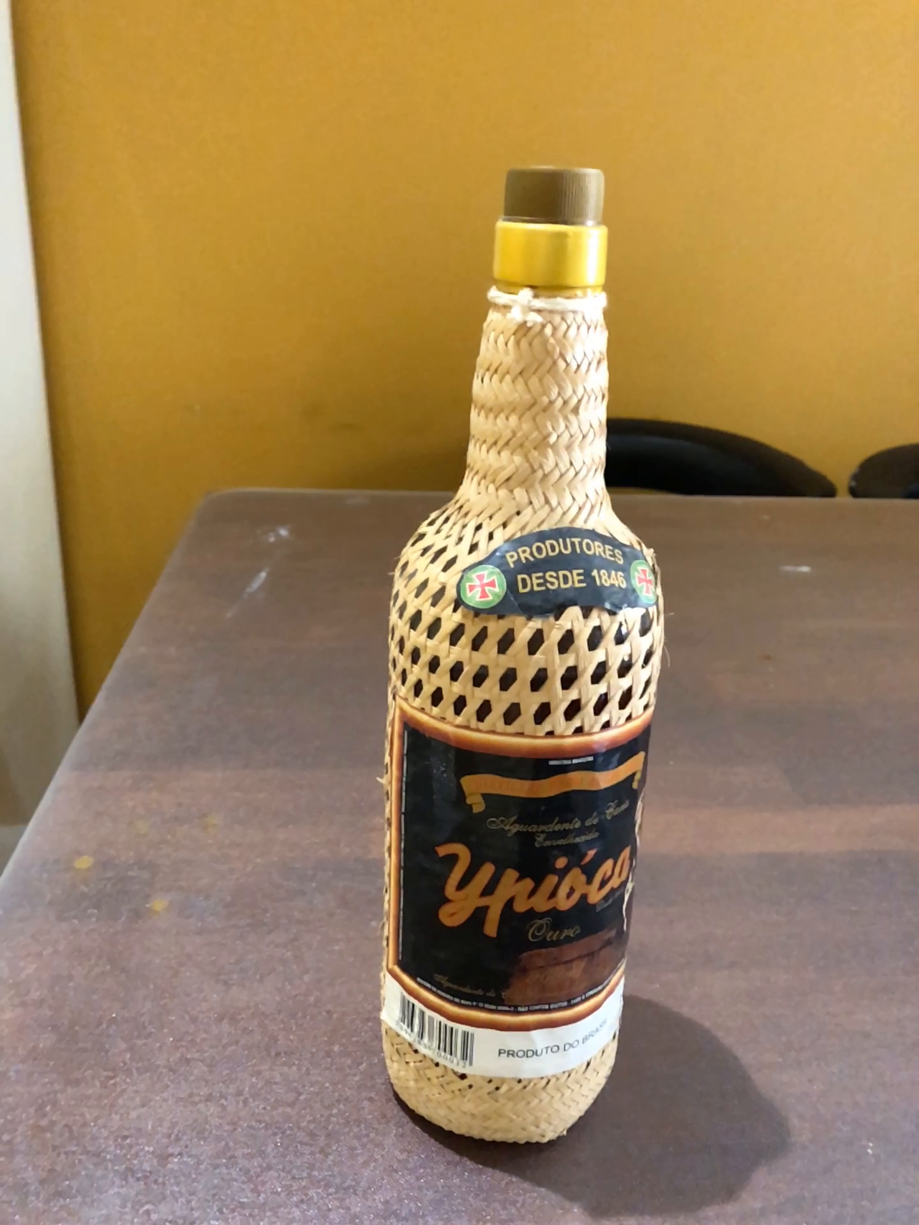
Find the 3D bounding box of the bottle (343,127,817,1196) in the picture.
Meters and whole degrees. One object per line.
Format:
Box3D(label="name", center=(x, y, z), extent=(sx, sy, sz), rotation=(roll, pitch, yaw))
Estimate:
Box3D(label="bottle", center=(0.023, 0.023, 0.344), extent=(0.100, 0.328, 0.090), rotation=(-7, 23, -23))
